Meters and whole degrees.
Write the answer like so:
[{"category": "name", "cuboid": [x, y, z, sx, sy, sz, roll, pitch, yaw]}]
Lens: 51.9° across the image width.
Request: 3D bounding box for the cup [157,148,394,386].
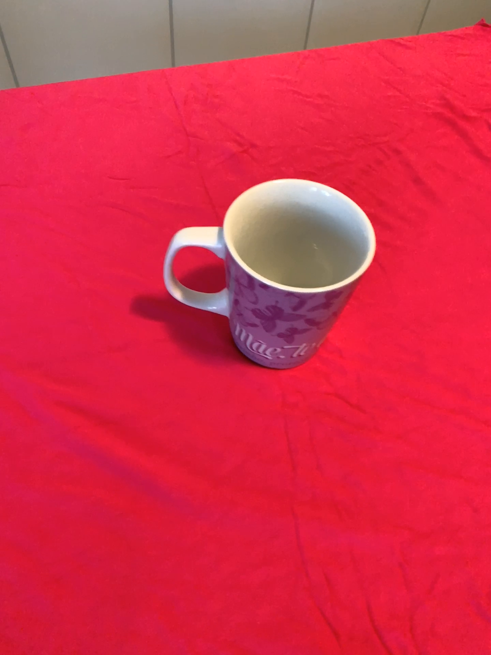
[{"category": "cup", "cuboid": [0.013, -0.031, 0.296, 0.110, 0.100, 0.080, 7, 56, -2]}]
